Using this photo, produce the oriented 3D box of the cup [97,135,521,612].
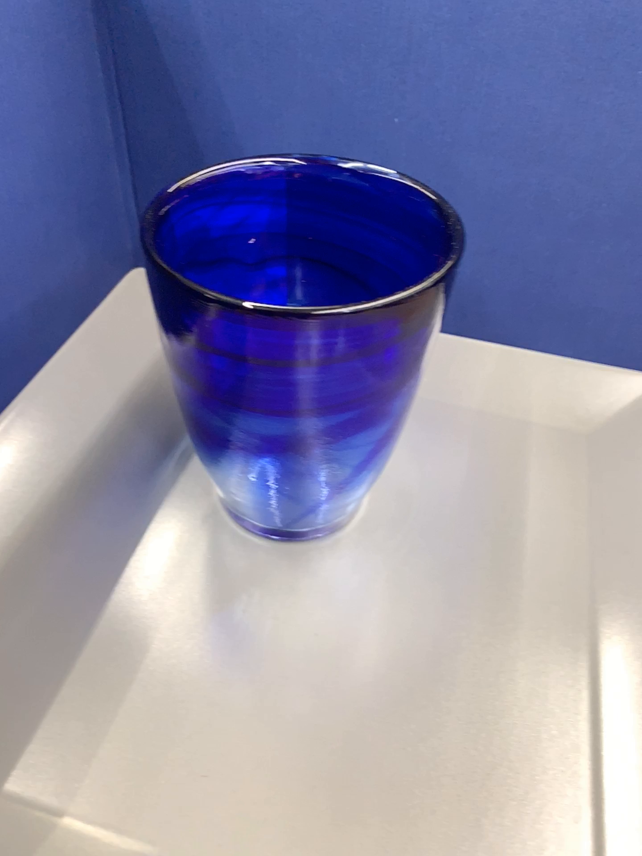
[{"bbox_3d":[-0.008,-0.021,0.222,0.087,0.111,0.082,2,42,-2],"label":"cup"}]
